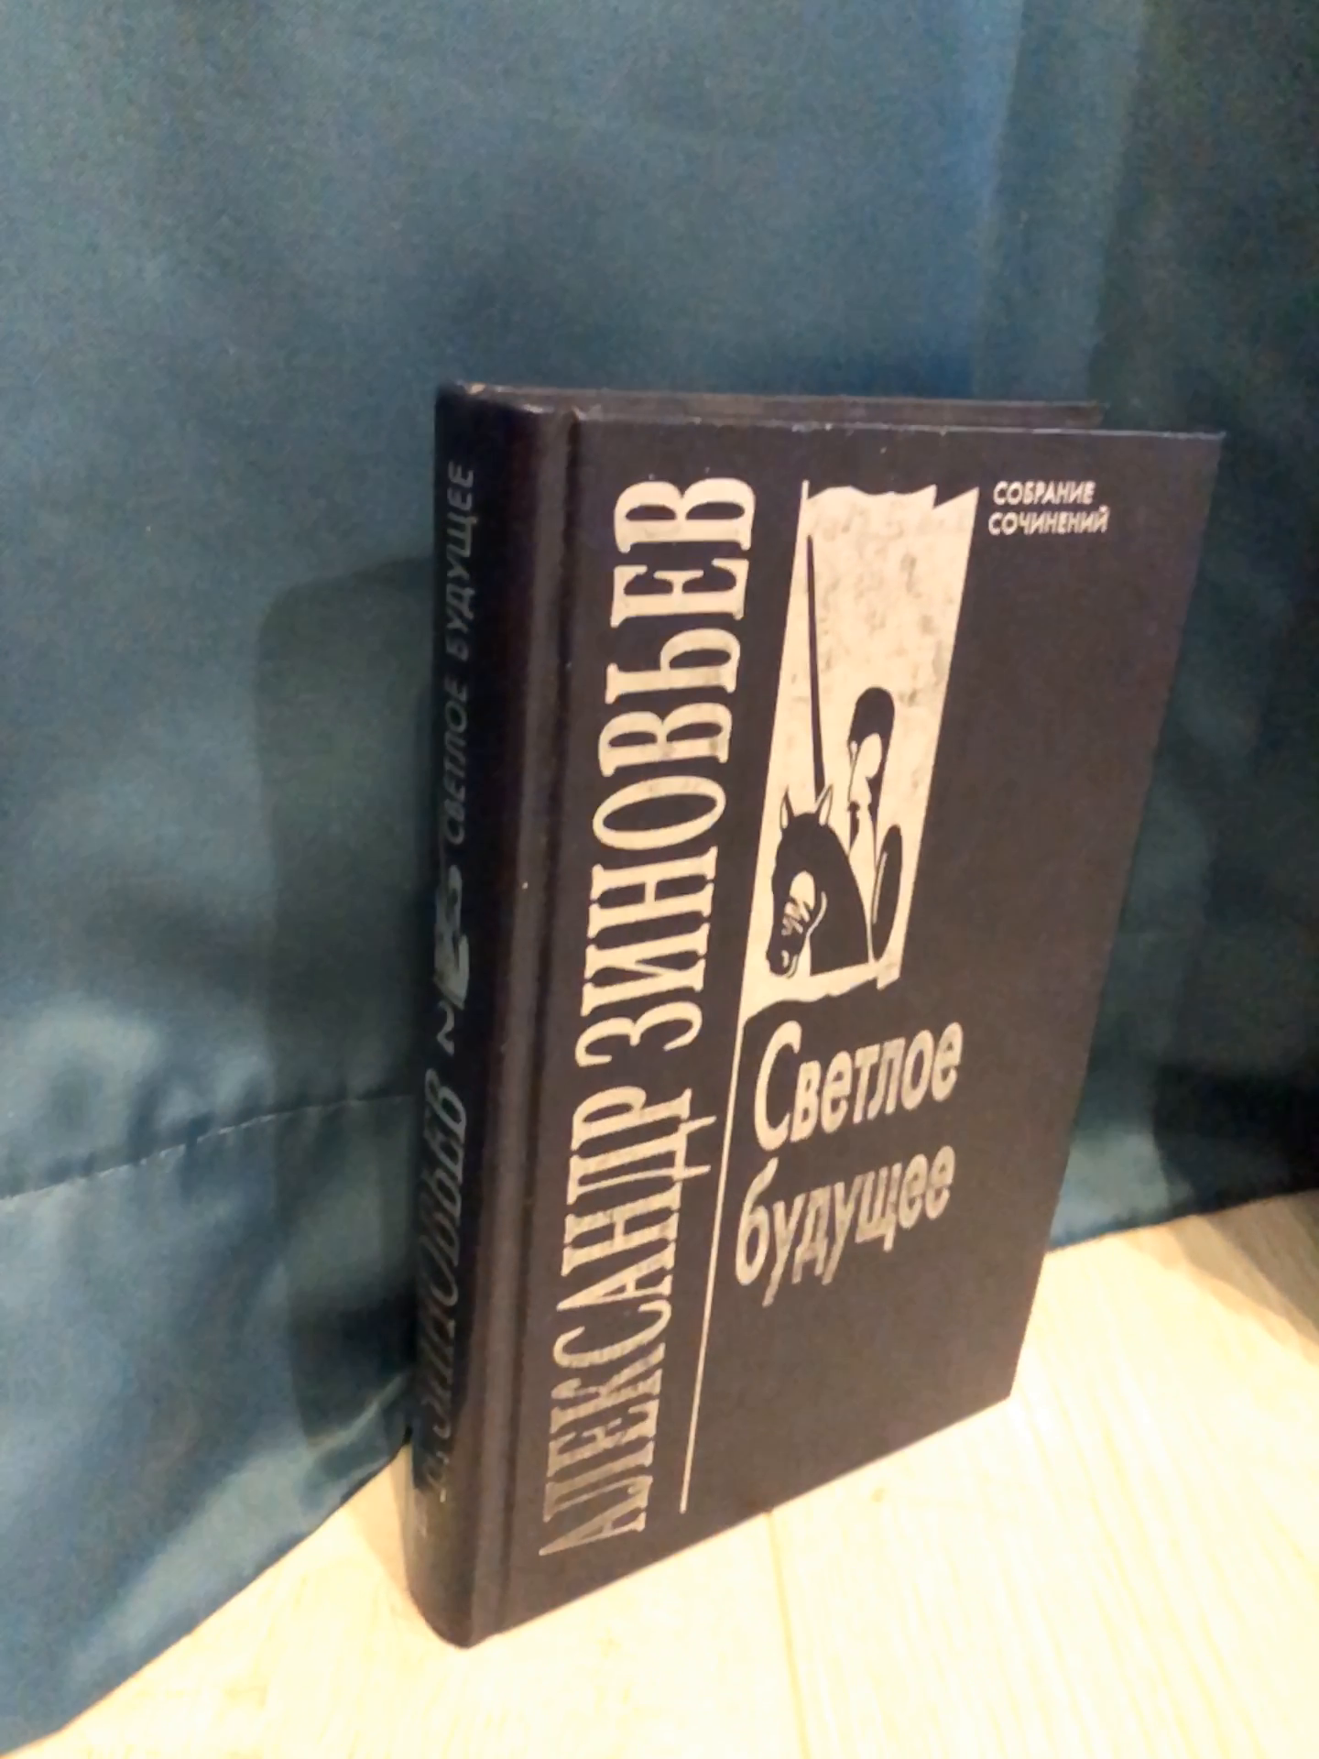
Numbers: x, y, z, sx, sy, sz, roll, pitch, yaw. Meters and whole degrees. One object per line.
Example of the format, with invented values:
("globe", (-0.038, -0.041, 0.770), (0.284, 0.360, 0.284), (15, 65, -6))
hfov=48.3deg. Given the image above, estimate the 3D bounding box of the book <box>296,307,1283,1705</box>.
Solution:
("book", (0.020, 0.016, 0.247), (0.150, 0.199, 0.040), (-9, 25, -33))
